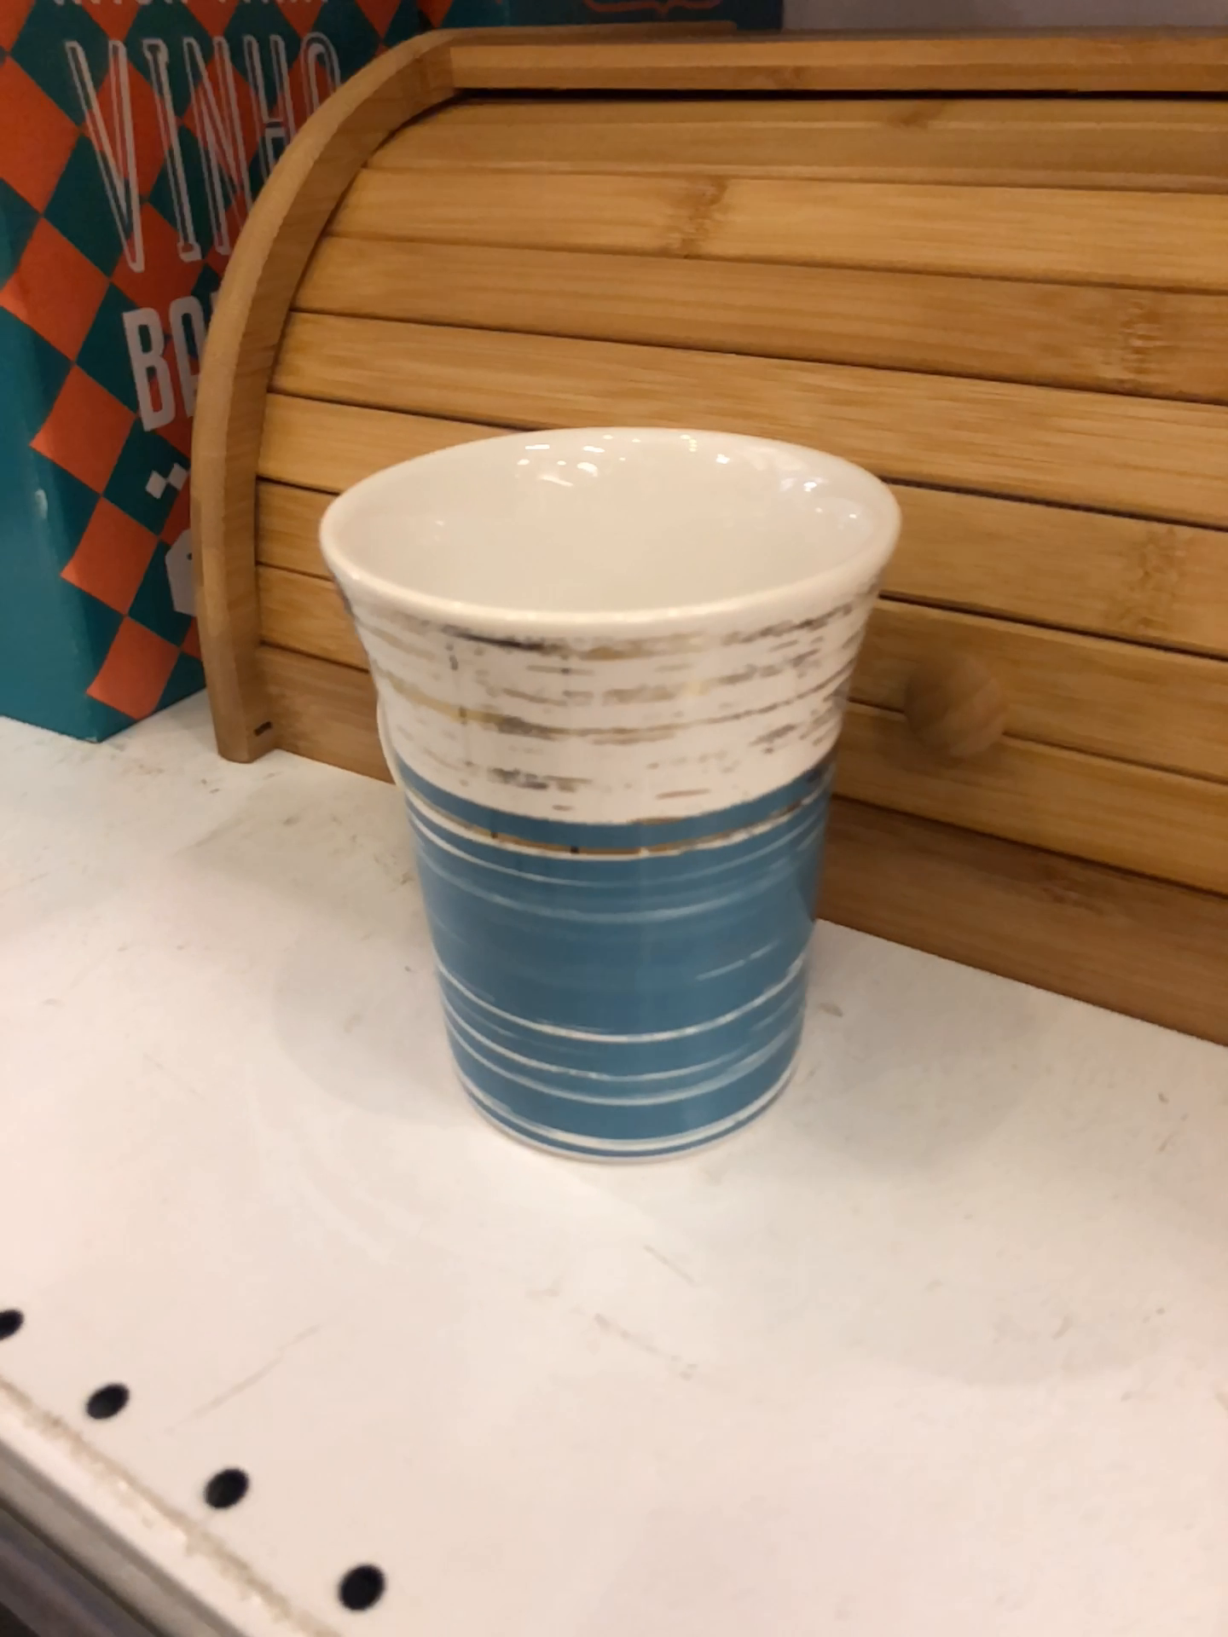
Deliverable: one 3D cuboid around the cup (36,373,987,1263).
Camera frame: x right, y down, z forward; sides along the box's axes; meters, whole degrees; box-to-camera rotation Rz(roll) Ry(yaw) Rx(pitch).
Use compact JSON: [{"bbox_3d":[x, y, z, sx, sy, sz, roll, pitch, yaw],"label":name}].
[{"bbox_3d":[-0.017,-0.014,0.234,0.120,0.089,0.090,24,40,37],"label":"cup"}]
